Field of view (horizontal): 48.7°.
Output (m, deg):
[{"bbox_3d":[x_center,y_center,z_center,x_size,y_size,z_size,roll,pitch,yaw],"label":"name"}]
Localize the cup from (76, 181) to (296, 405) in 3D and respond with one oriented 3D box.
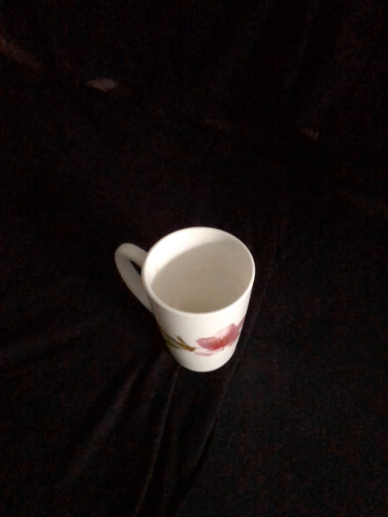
[{"bbox_3d":[-0.006,0.033,0.351,0.125,0.130,0.090,23,58,12],"label":"cup"}]
